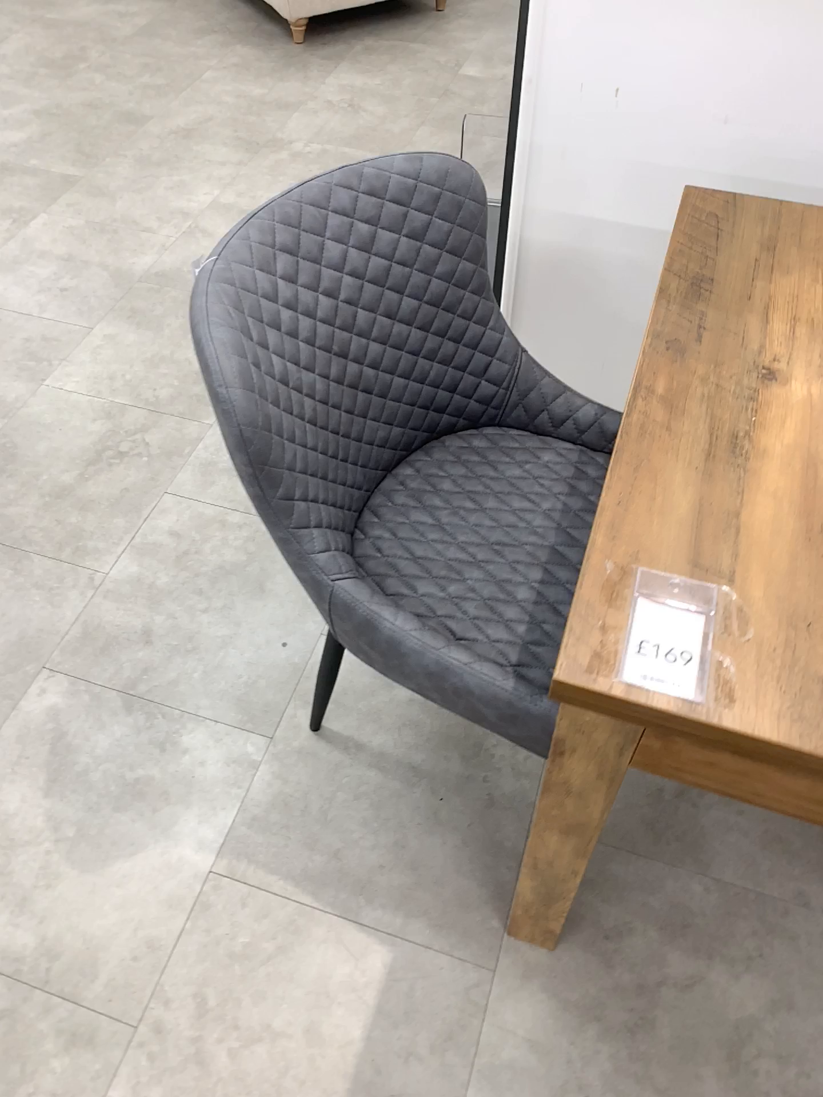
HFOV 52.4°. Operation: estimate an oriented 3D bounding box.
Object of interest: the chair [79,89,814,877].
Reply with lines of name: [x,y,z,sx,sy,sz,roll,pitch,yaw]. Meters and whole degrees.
chair: [0.064,-0.058,1.133,0.551,0.776,0.531,23,54,18]
